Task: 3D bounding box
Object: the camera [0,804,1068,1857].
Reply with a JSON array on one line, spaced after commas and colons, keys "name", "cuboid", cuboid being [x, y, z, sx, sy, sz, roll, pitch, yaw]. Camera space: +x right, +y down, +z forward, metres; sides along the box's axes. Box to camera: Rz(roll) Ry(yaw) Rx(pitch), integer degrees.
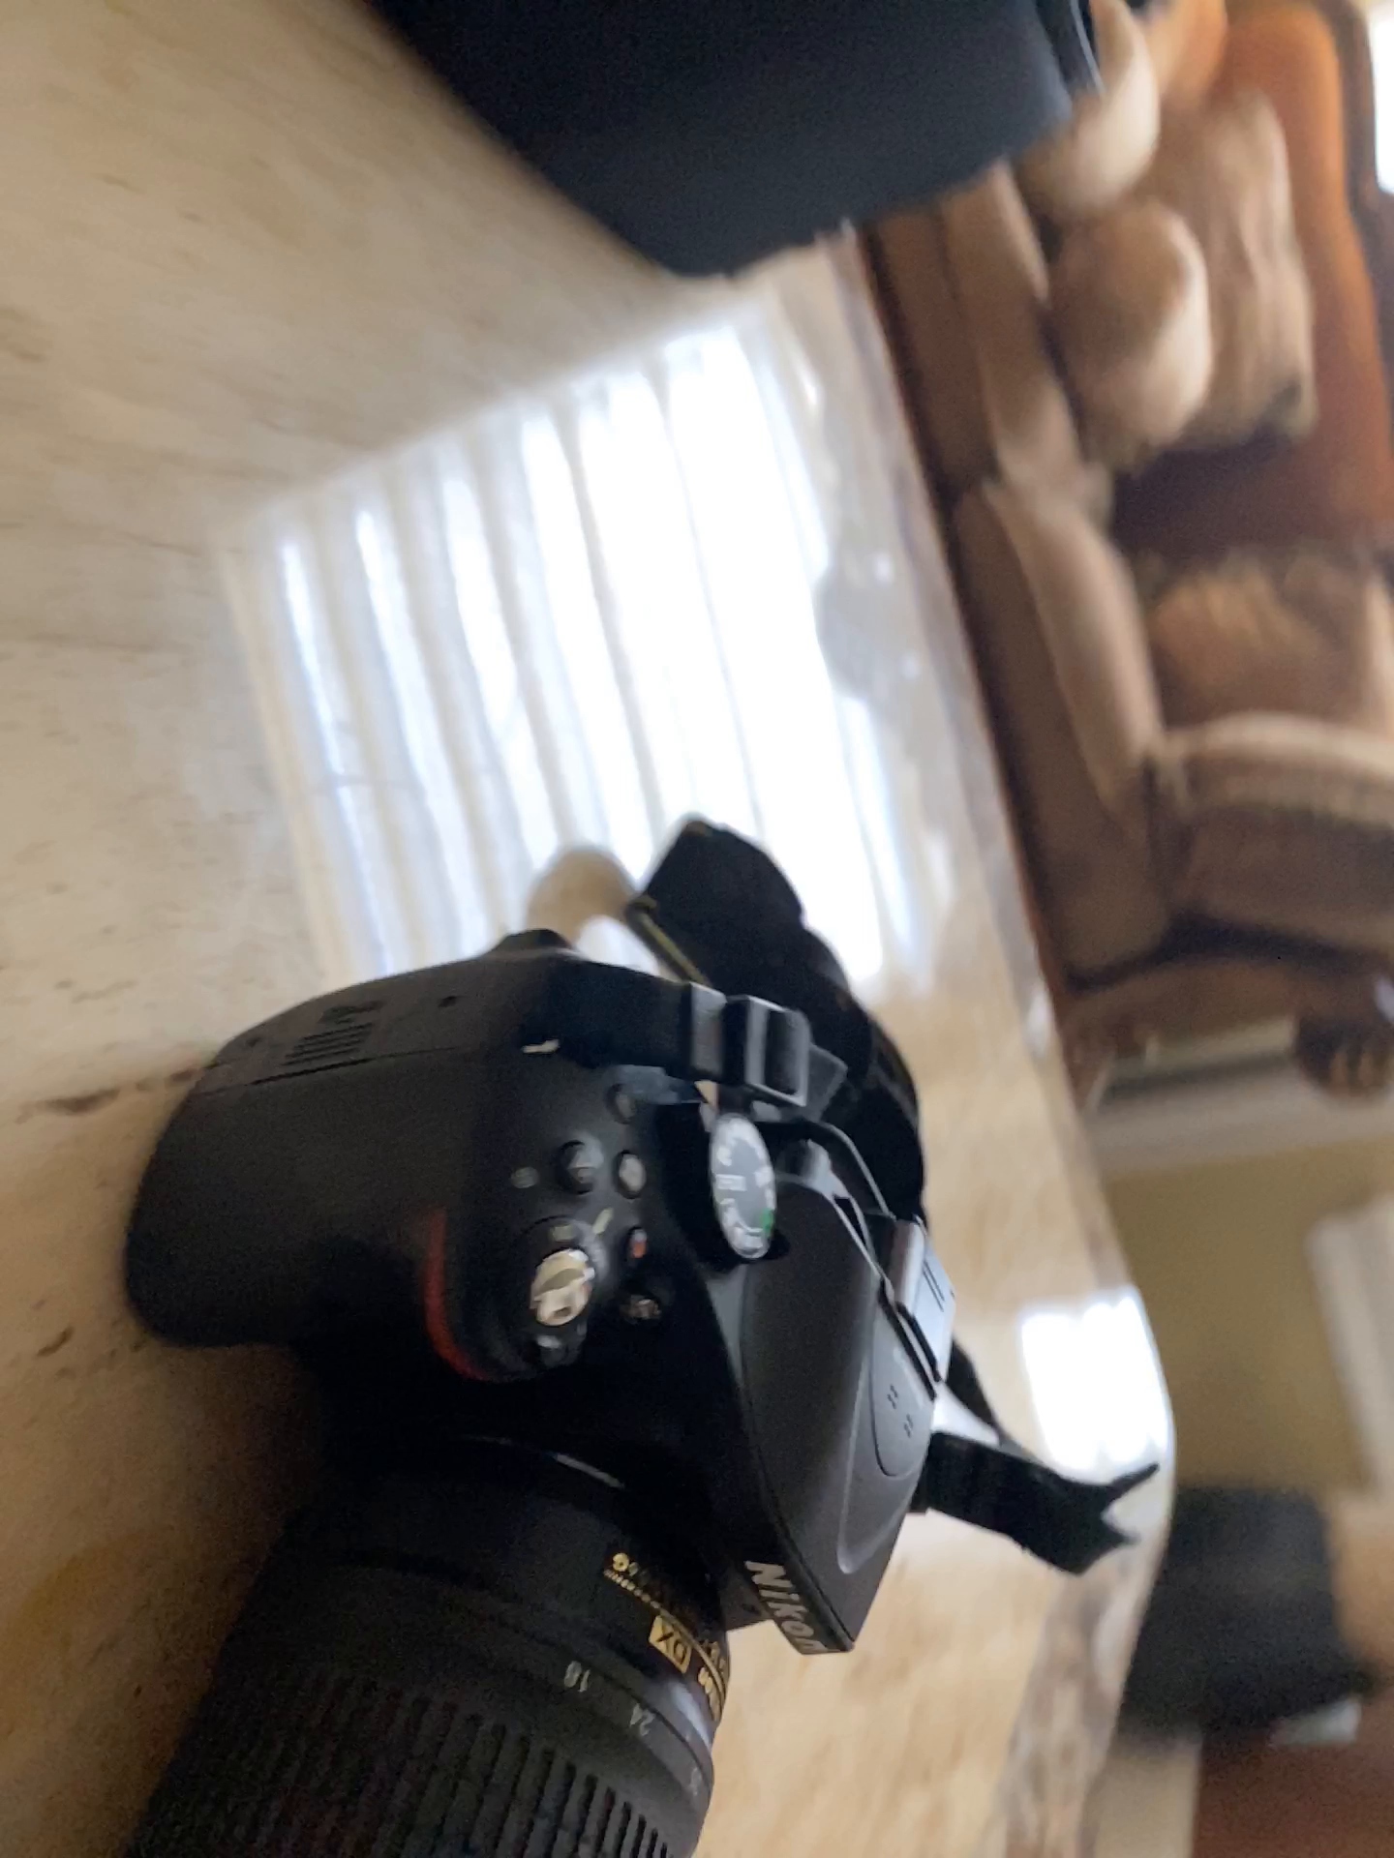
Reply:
[{"name": "camera", "cuboid": [-0.016, 0.097, 0.217, 0.152, 0.100, 0.160, 63, 26, -28]}]
